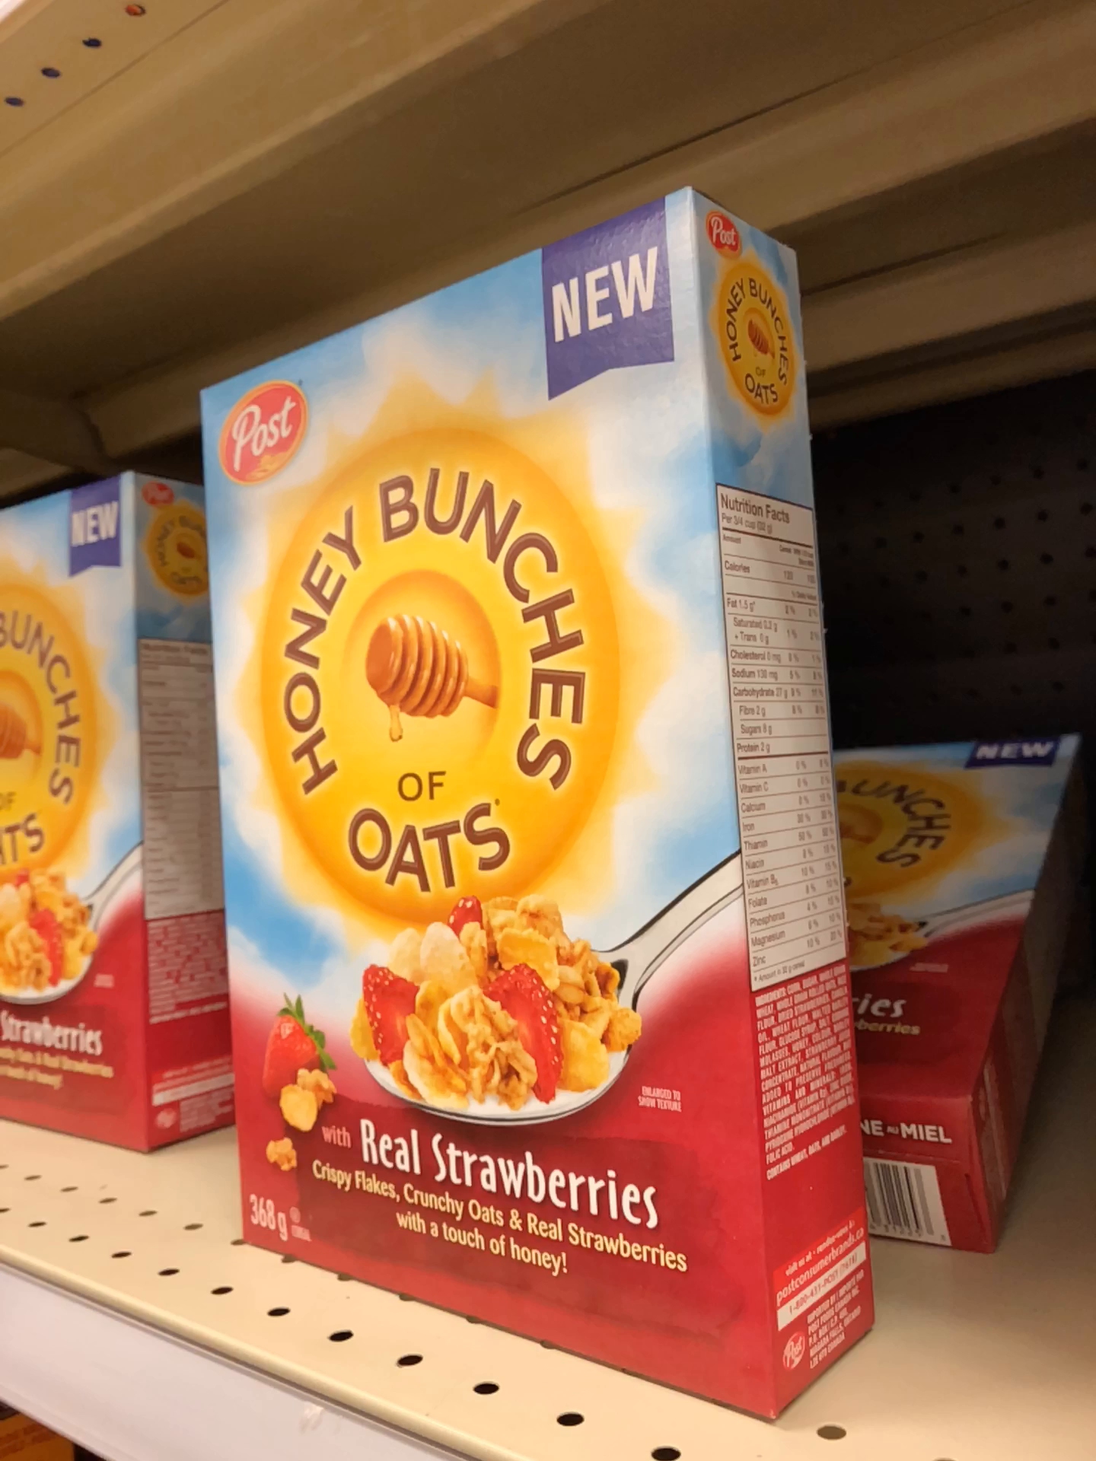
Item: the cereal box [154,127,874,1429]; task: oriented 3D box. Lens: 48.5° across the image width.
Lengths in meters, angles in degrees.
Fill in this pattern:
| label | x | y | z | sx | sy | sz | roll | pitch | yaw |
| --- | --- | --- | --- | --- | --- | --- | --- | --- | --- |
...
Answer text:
| label | x | y | z | sx | sy | sz | roll | pitch | yaw |
| --- | --- | --- | --- | --- | --- | --- | --- | --- | --- |
| cereal box | -0.024 | 0.013 | 0.336 | 0.200 | 0.270 | 0.050 | -5 | -2 | 40 |
